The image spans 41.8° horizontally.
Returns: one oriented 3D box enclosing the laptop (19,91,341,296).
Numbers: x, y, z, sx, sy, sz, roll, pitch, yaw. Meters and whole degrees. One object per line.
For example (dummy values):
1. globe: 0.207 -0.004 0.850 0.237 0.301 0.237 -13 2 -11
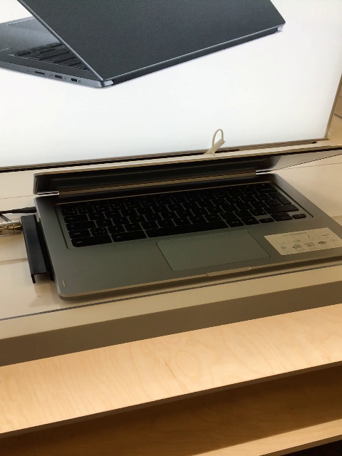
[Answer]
1. laptop: 0.027 -0.059 0.535 0.355 0.139 0.216 -8 37 -14
